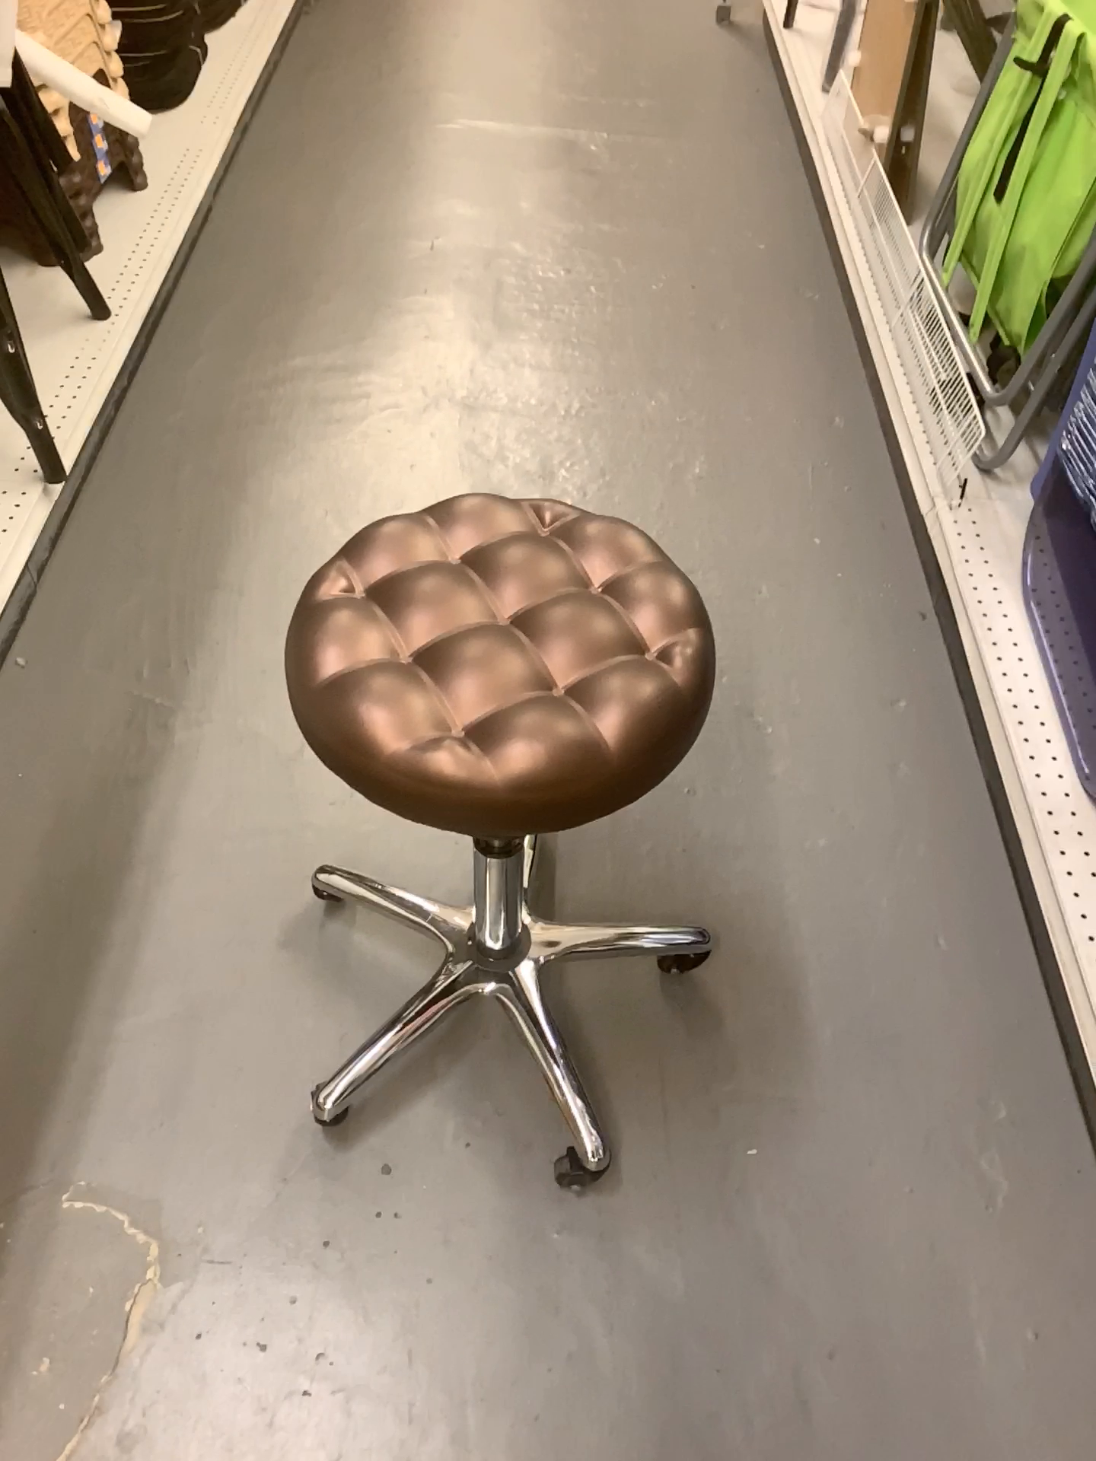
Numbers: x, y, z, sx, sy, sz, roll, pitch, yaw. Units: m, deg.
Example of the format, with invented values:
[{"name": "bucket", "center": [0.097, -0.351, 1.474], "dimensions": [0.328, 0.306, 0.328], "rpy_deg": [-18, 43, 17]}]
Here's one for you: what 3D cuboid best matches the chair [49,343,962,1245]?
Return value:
[{"name": "chair", "center": [-0.016, 0.076, 0.992], "dimensions": [0.501, 0.575, 0.513], "rpy_deg": [6, 50, 1]}]
